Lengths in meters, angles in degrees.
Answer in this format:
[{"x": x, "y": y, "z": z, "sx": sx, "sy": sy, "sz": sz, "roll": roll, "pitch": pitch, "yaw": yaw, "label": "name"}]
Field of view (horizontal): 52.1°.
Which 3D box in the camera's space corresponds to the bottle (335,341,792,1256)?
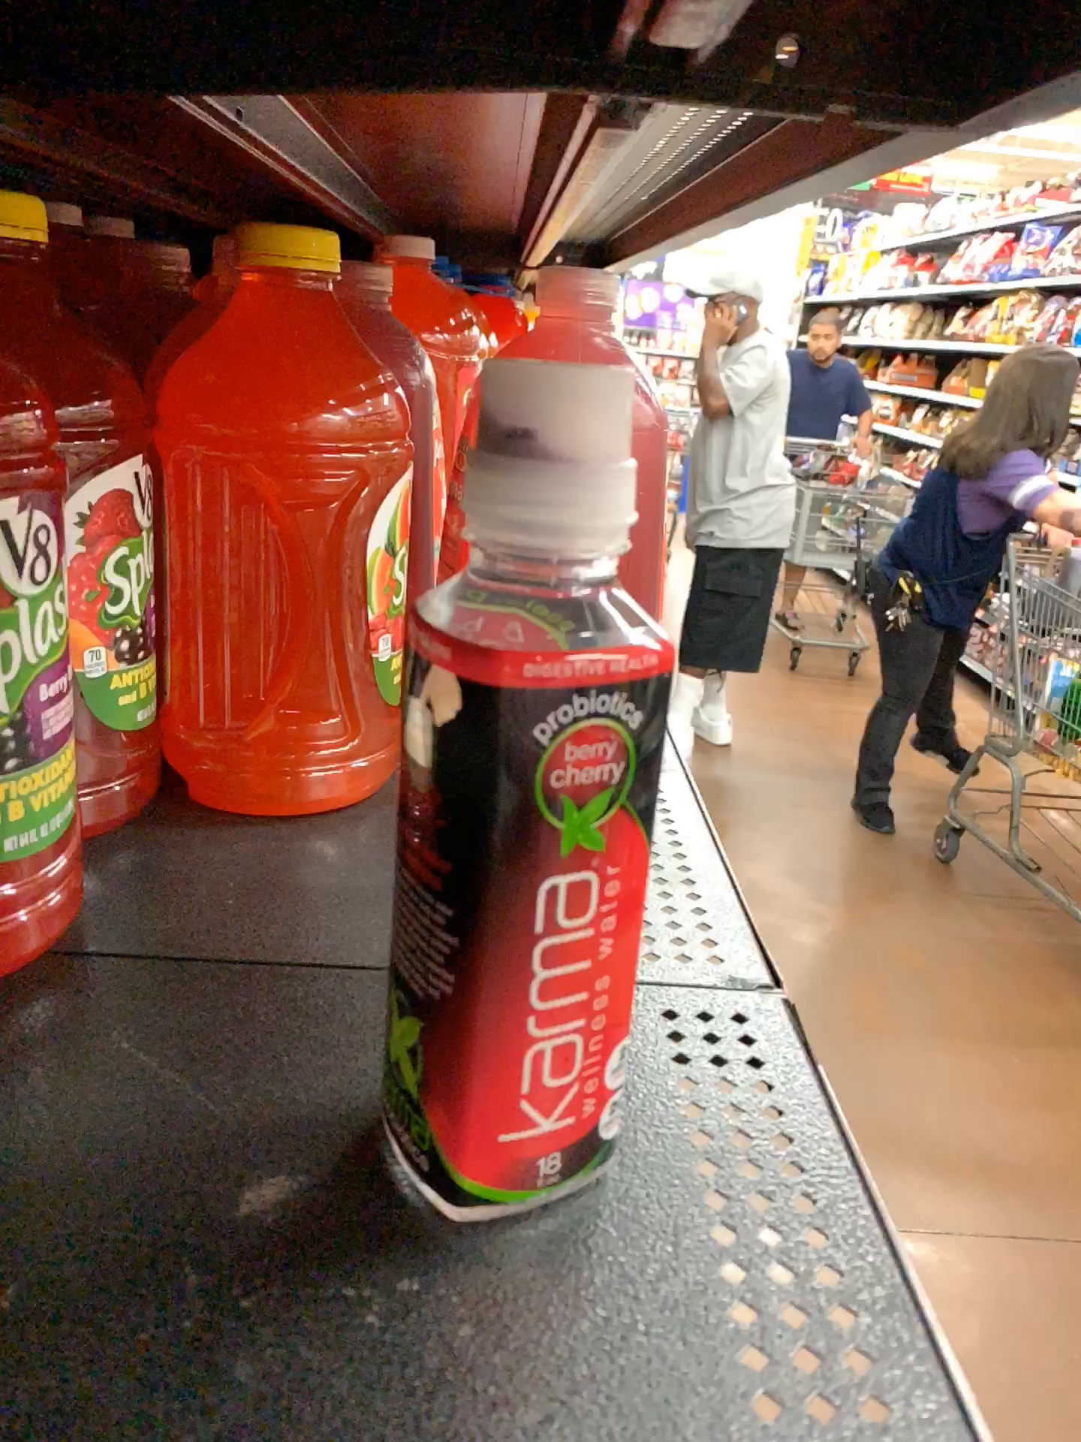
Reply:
[{"x": -0.003, "y": 0.018, "z": 0.283, "sx": 0.069, "sy": 0.209, "sz": 0.070, "roll": 6, "pitch": 19, "yaw": -2, "label": "bottle"}]
